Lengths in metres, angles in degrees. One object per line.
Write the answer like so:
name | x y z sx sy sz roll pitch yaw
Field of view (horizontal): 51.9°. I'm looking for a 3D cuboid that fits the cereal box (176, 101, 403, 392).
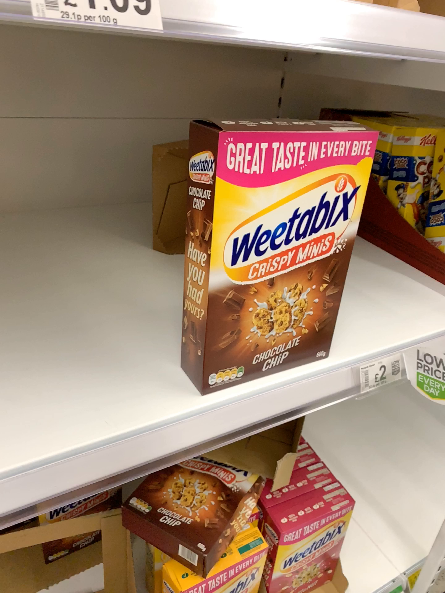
cereal box | 0.064 -0.056 0.510 0.211 0.287 0.070 -11 32 -28
